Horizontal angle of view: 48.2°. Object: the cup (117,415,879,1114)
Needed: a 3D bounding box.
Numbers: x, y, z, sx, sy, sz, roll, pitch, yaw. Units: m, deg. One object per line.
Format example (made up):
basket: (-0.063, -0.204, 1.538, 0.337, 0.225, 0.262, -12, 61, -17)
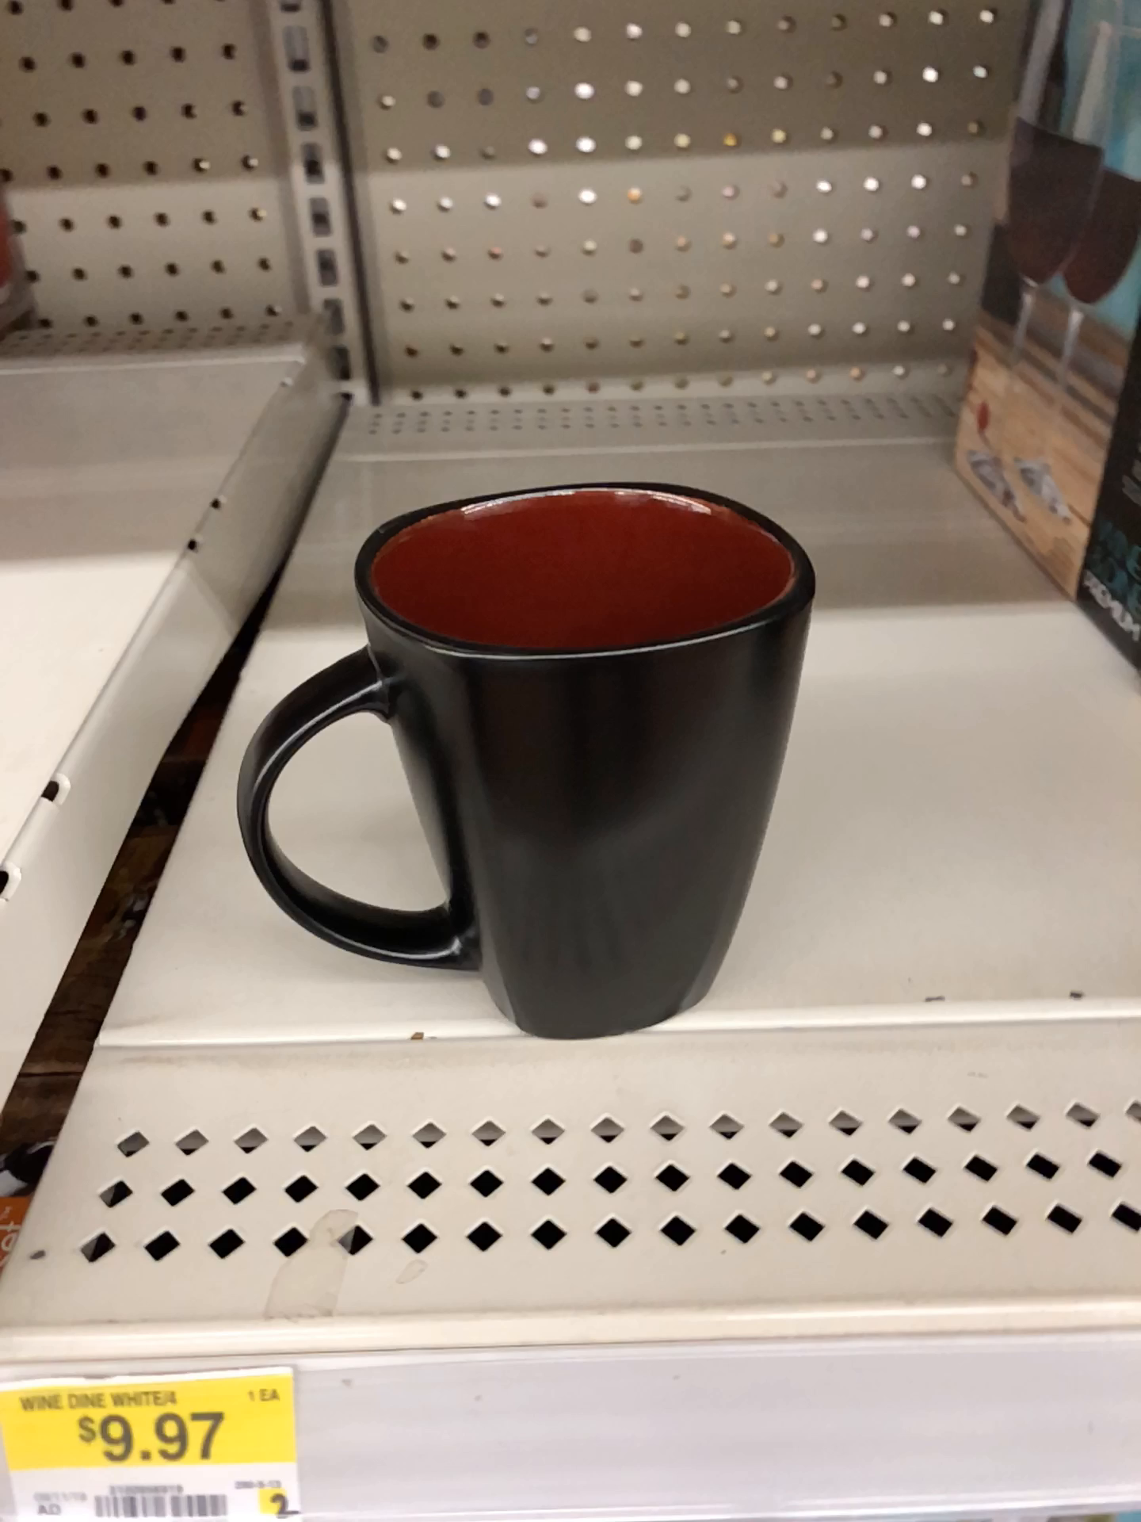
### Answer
cup: (-0.017, -0.005, 0.277, 0.130, 0.100, 0.090, -9, 33, -10)
